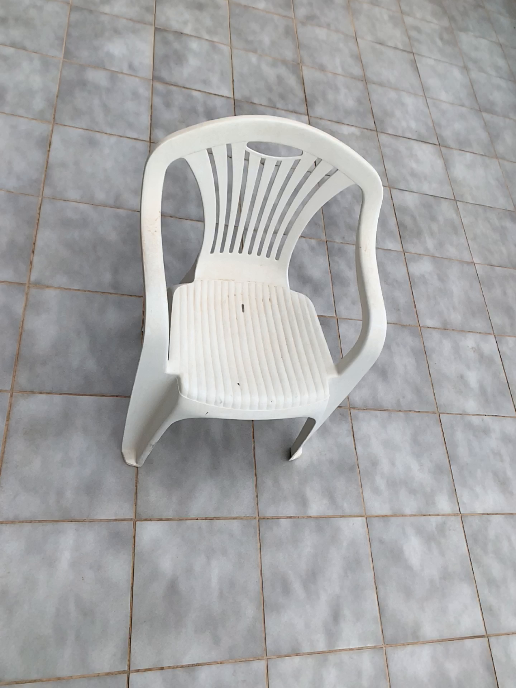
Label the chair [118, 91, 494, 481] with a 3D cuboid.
[{"bbox_3d":[0.003,-0.057,1.221,0.571,0.668,0.561,2,63,-20],"label":"chair"}]
